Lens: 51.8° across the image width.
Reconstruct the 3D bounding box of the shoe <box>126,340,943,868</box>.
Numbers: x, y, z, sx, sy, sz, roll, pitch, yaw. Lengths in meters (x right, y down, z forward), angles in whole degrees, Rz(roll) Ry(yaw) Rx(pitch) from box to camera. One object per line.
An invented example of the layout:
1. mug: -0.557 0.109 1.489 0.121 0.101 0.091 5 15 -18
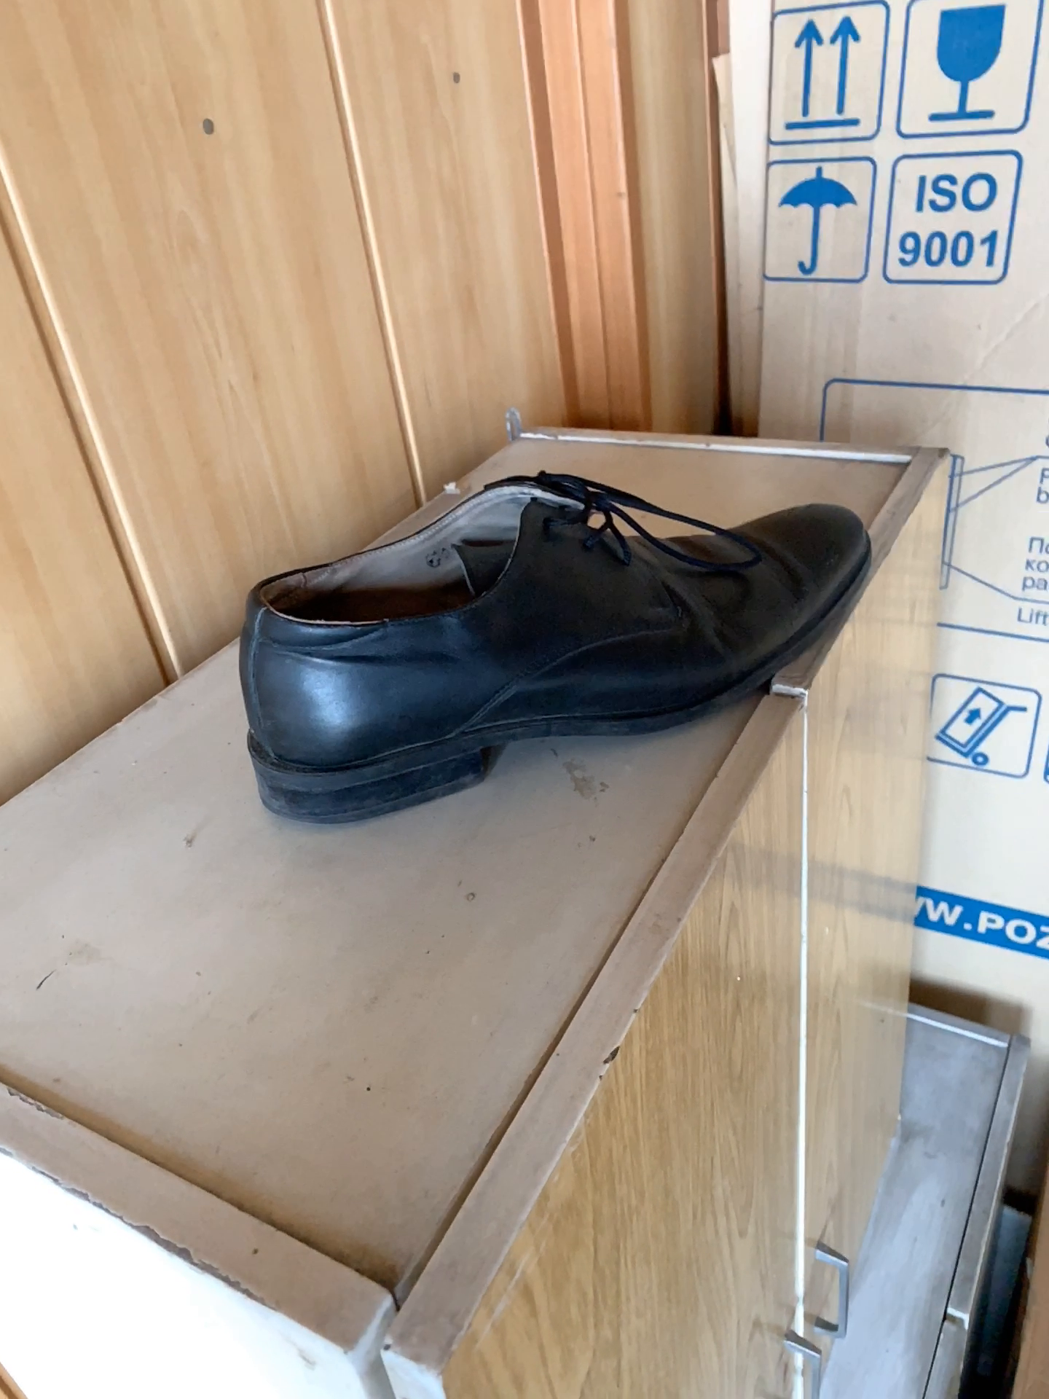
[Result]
1. shoe: 0.007 -0.060 0.457 0.301 0.089 0.141 -21 35 -19
